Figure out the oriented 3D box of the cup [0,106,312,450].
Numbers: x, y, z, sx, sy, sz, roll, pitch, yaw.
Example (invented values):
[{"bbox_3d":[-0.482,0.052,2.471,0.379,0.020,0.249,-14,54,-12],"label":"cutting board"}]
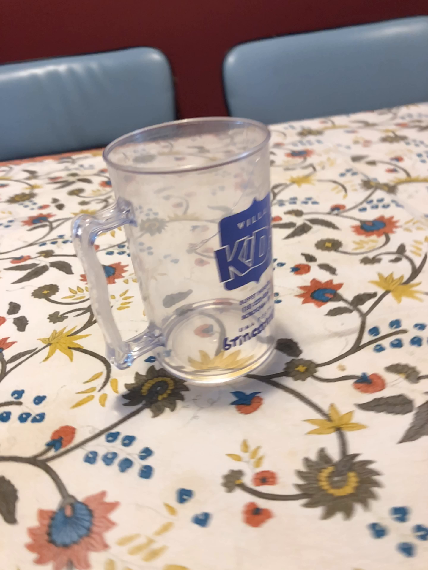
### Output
[{"bbox_3d":[-0.020,-0.013,0.230,0.110,0.109,0.080,-30,38,-31],"label":"cup"}]
